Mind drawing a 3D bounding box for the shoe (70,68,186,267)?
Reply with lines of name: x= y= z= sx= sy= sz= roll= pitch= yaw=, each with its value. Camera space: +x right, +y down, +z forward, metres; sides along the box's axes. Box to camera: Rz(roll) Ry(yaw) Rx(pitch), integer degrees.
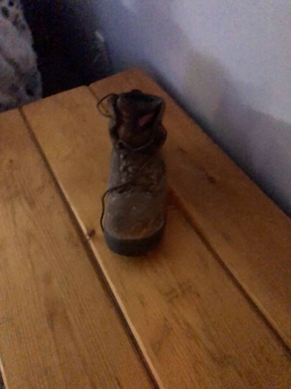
shoe: x=-0.020 y=-0.053 z=0.502 sx=0.130 sy=0.130 sz=0.291 roll=-3 pitch=52 yaw=2
